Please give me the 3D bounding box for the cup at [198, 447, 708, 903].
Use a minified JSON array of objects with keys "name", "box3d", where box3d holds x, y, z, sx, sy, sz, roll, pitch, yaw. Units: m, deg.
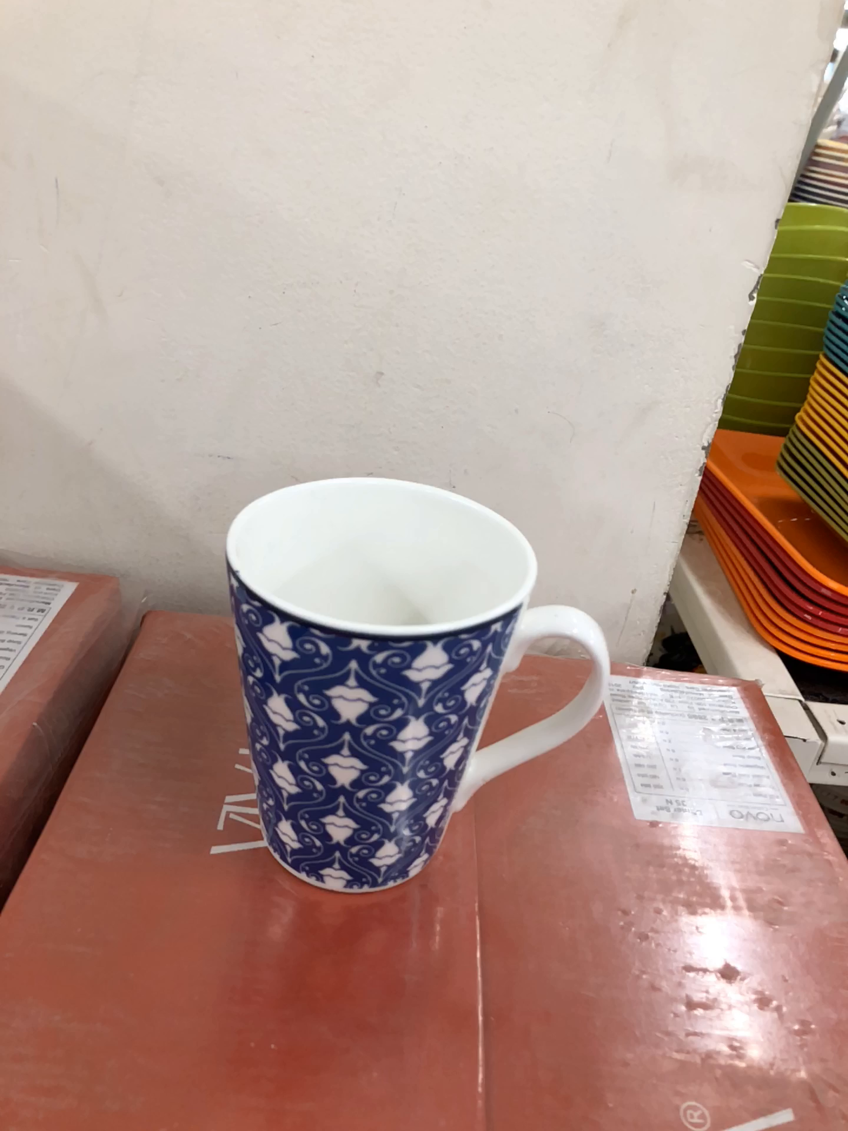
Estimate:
[{"name":"cup","box3d":[-0.001,0.031,0.277,0.120,0.099,0.080,3,30,-11]}]
